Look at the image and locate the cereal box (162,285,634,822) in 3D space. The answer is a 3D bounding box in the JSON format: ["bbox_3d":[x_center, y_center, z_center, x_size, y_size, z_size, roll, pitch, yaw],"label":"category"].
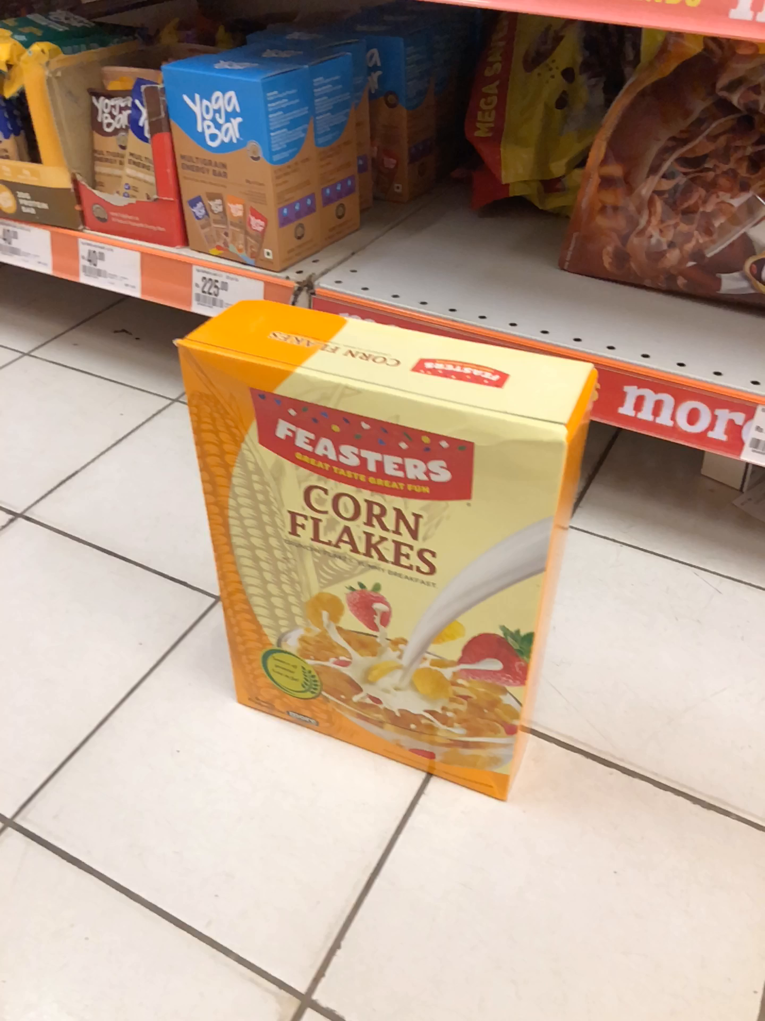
[{"bbox_3d":[0.005,0.030,0.432,0.190,0.248,0.060,16,42,19],"label":"cereal box"}]
